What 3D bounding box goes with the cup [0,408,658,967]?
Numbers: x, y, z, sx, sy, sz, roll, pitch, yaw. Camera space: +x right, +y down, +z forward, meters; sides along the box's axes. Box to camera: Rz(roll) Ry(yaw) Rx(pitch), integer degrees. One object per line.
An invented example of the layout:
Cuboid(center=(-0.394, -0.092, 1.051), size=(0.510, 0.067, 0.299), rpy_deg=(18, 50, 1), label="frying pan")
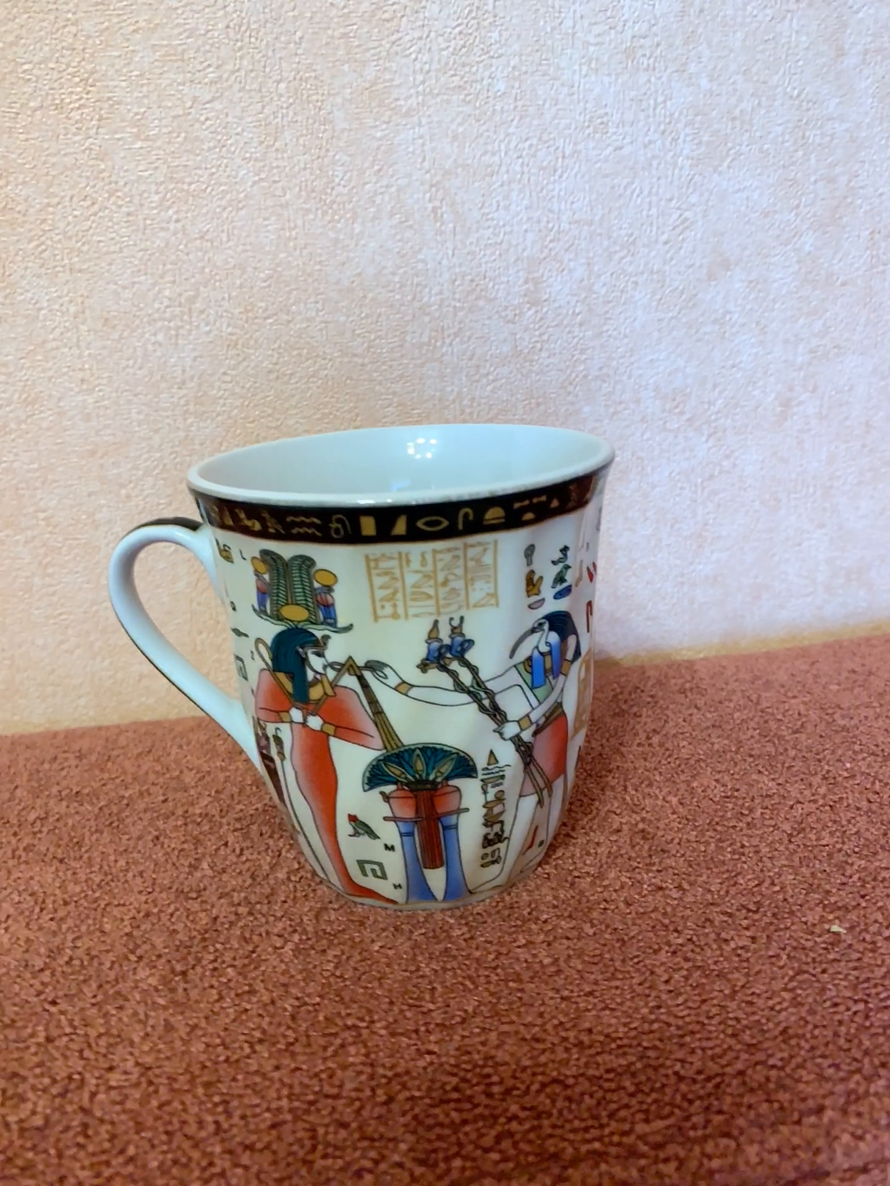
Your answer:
Cuboid(center=(-0.013, 0.011, 0.207), size=(0.115, 0.087, 0.086), rpy_deg=(1, 20, 13), label="cup")
